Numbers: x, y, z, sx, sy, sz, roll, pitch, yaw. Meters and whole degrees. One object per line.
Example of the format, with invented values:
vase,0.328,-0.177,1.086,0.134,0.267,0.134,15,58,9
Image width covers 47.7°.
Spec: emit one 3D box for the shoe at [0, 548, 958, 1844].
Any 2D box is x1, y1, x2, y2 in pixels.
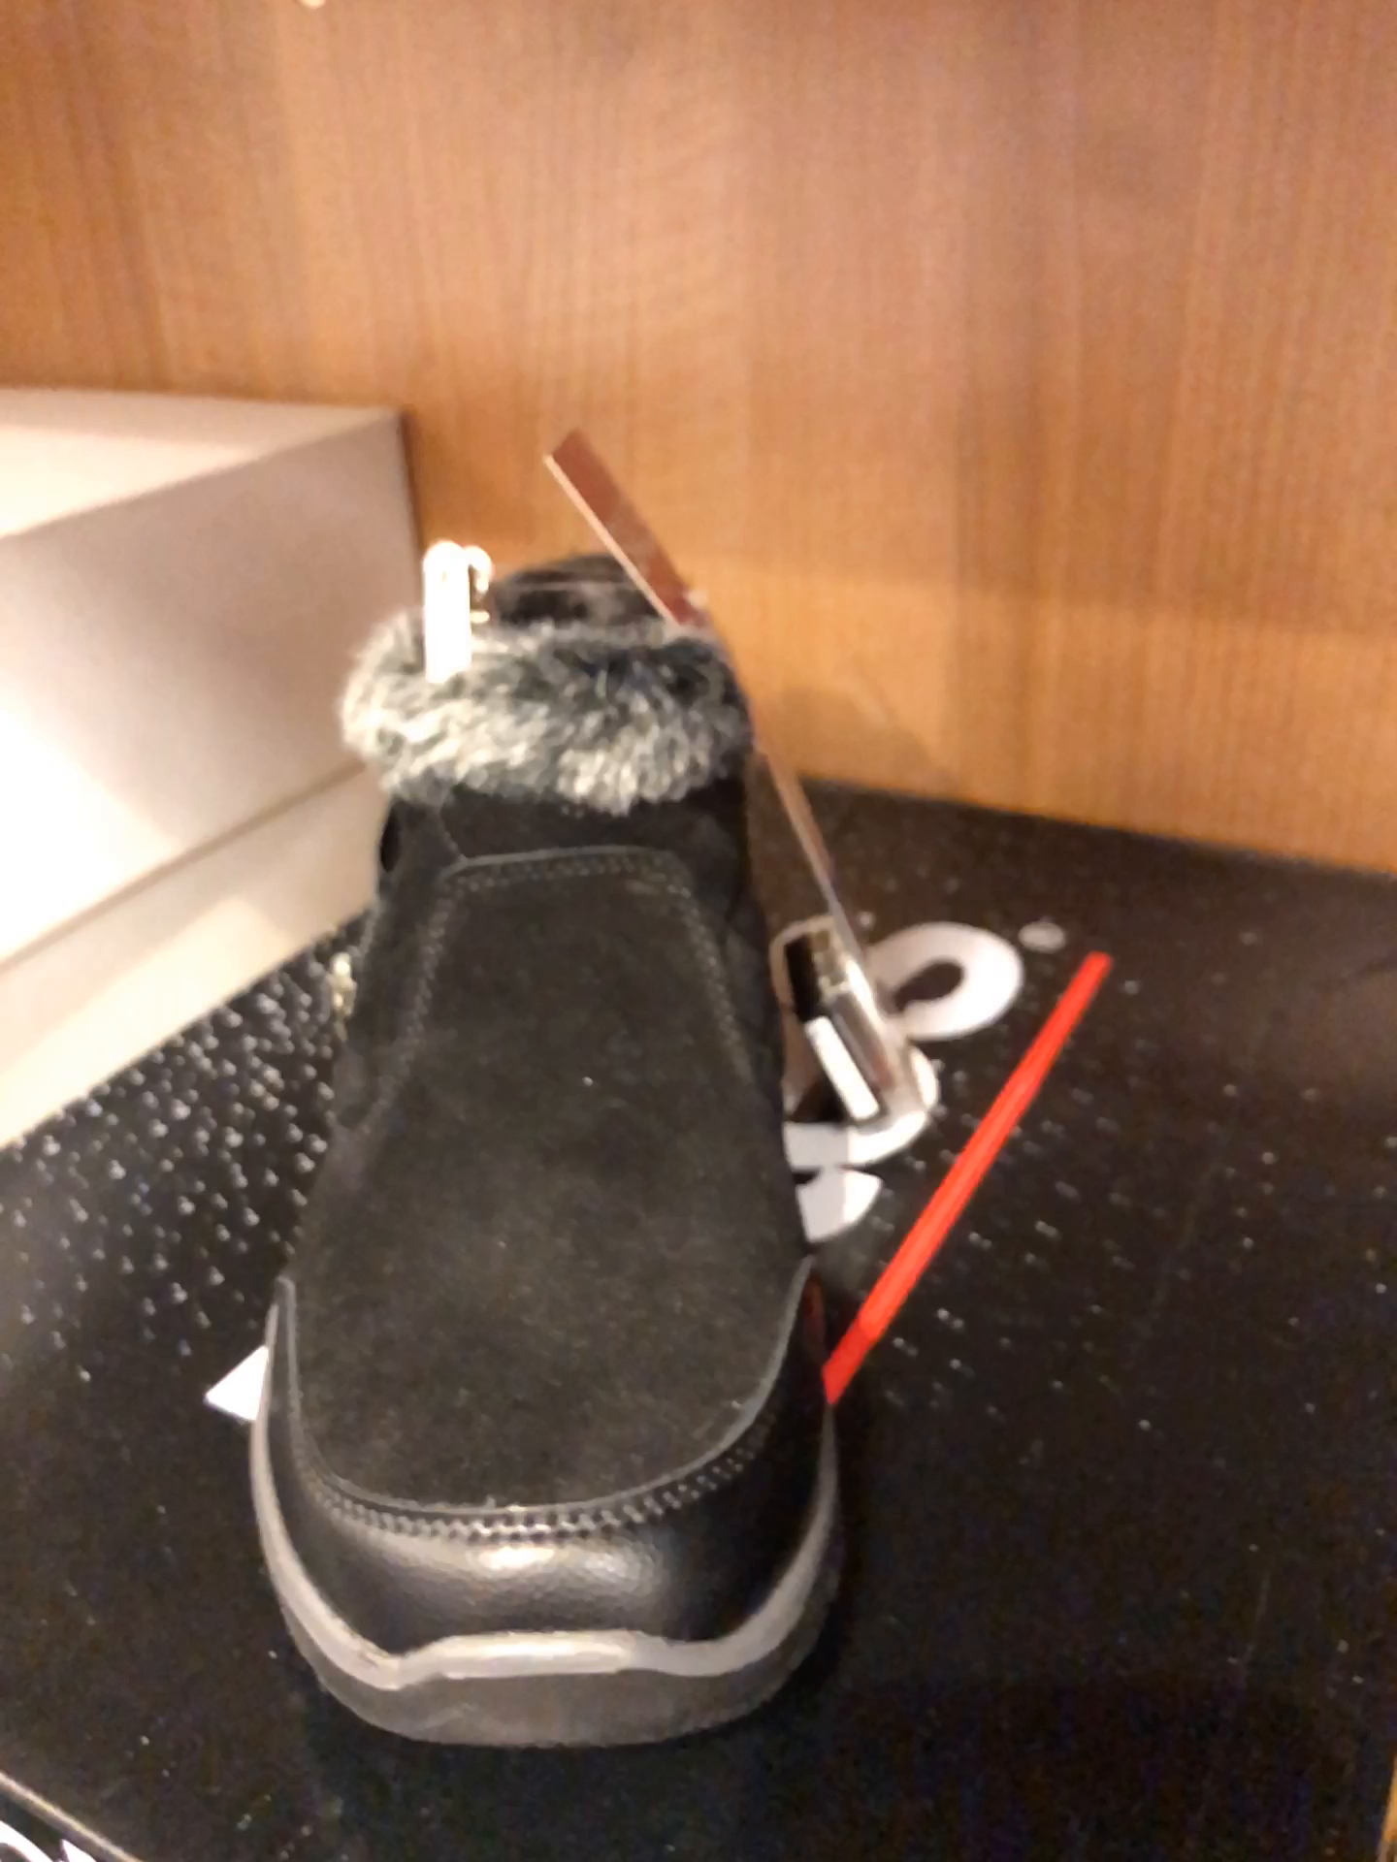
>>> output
shoe,-0.028,0.016,0.304,0.105,0.112,0.250,-3,28,-1
